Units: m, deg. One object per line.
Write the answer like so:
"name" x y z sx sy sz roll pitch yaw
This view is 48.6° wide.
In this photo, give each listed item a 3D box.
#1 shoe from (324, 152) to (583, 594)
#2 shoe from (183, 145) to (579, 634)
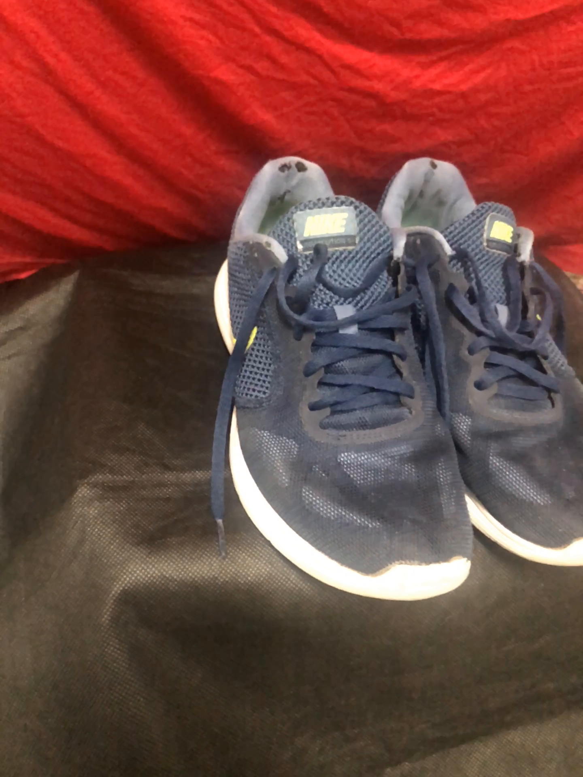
"shoe" 0.112 -0.032 0.373 0.110 0.089 0.262 -4 46 -15
"shoe" 0.015 -0.020 0.323 0.110 0.099 0.232 -4 46 -15
